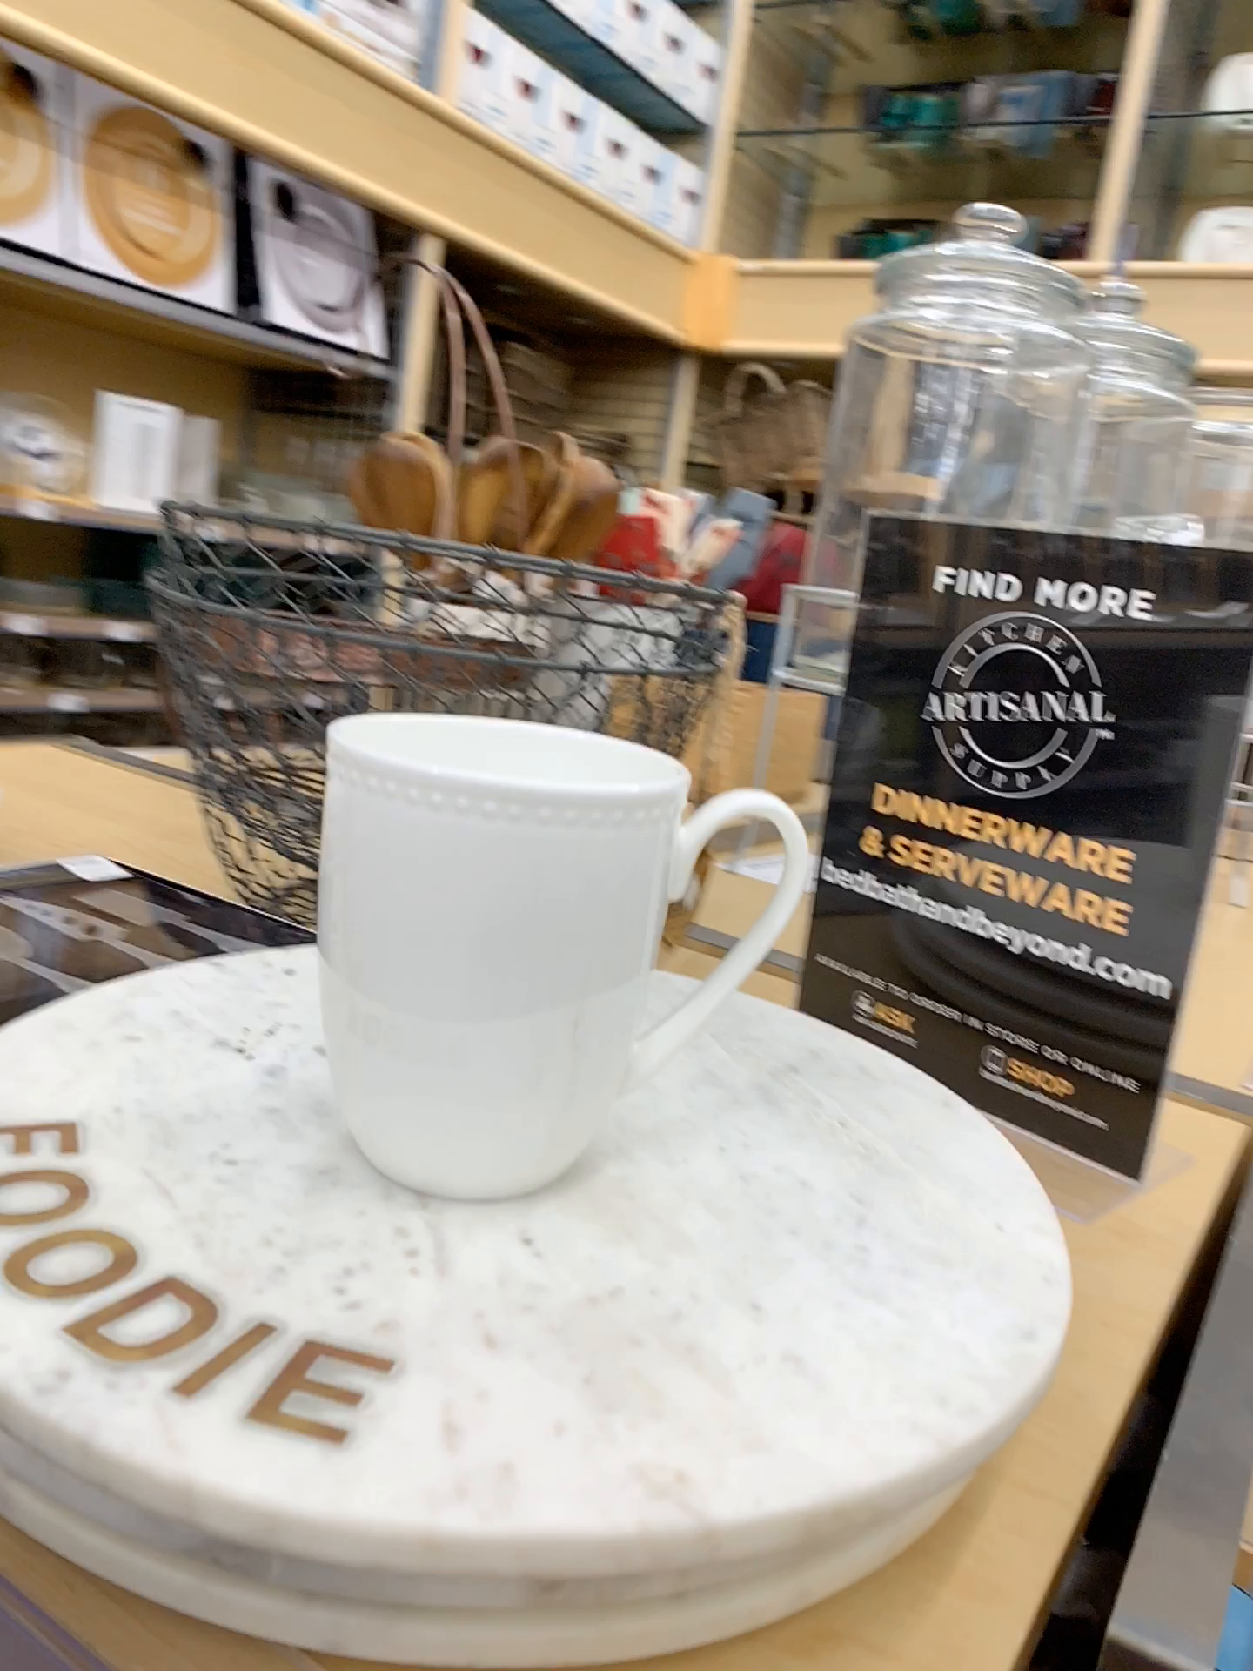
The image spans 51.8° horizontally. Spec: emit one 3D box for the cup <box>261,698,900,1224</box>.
[{"bbox_3d":[-0.017,0.026,0.321,0.125,0.094,0.096,6,11,-11],"label":"cup"}]
